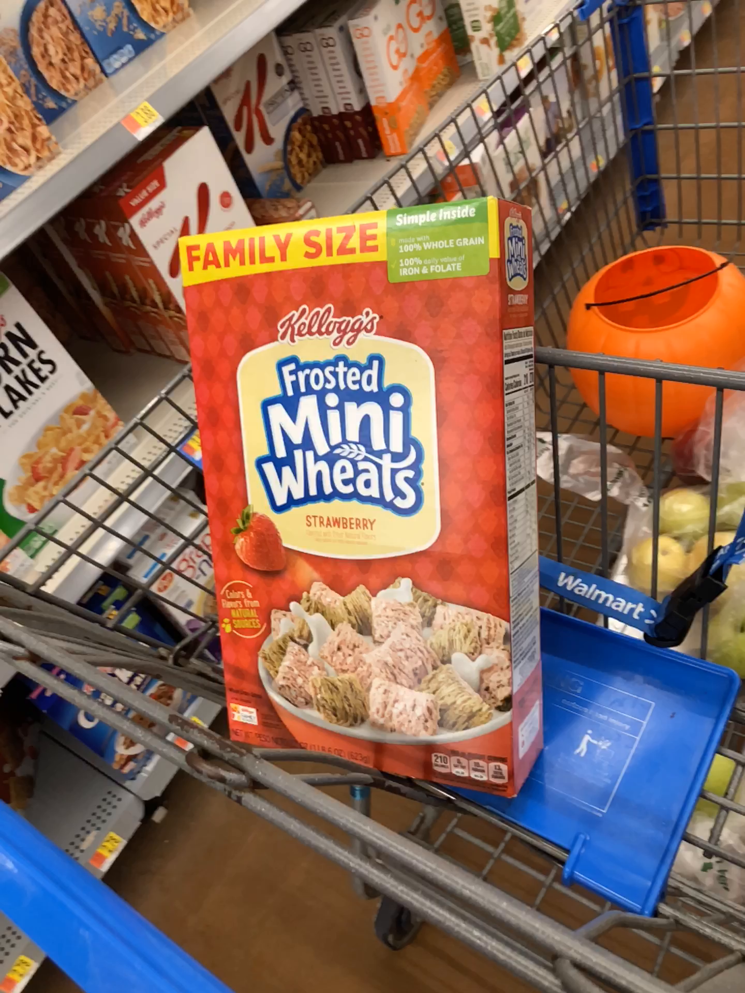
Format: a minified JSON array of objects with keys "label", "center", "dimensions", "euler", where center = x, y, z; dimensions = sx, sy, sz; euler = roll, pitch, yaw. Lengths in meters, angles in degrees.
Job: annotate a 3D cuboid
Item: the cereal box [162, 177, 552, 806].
[{"label":"cereal box","center":[-0.006,-0.001,0.487],"dimensions":[0.200,0.320,0.070],"euler":[1,11,27]}]
